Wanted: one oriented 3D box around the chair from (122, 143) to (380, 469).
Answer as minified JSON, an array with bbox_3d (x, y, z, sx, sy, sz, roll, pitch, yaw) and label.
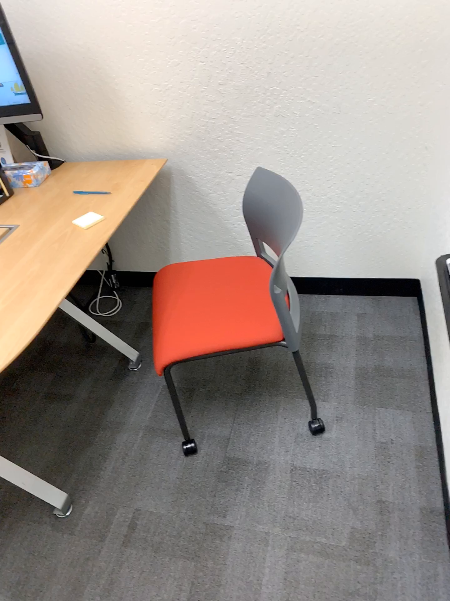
[{"bbox_3d":[0.086,0.024,1.831,0.720,0.914,0.745,-11,40,-1],"label":"chair"}]
